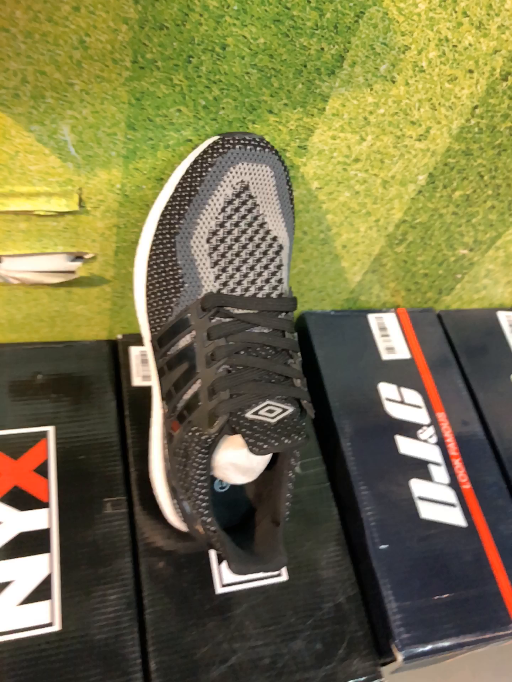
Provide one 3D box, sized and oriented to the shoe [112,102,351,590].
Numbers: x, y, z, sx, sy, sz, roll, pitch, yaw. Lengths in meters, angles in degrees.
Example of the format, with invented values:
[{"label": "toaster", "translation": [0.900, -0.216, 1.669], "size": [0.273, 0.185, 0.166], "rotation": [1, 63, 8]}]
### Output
[{"label": "shoe", "translation": [-0.025, -0.001, 0.389], "size": [0.111, 0.122, 0.268], "rotation": [-3, 100, -30]}]
